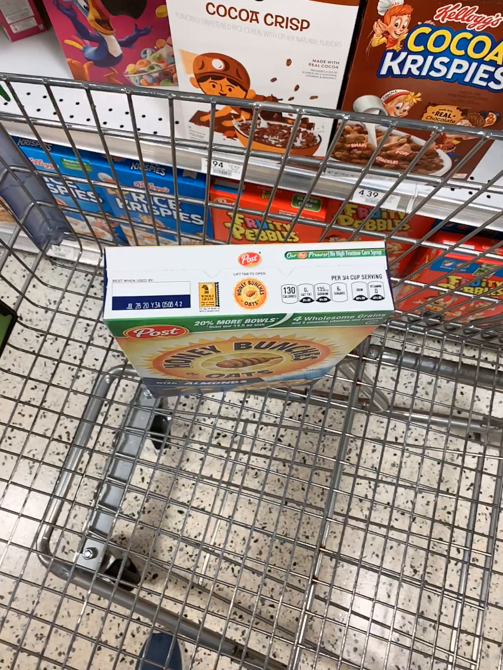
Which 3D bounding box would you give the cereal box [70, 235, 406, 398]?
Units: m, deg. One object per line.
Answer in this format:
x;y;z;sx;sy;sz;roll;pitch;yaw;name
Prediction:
-0.014;0.005;0.480;0.210;0.309;0.060;-2;76;-3;cereal box
